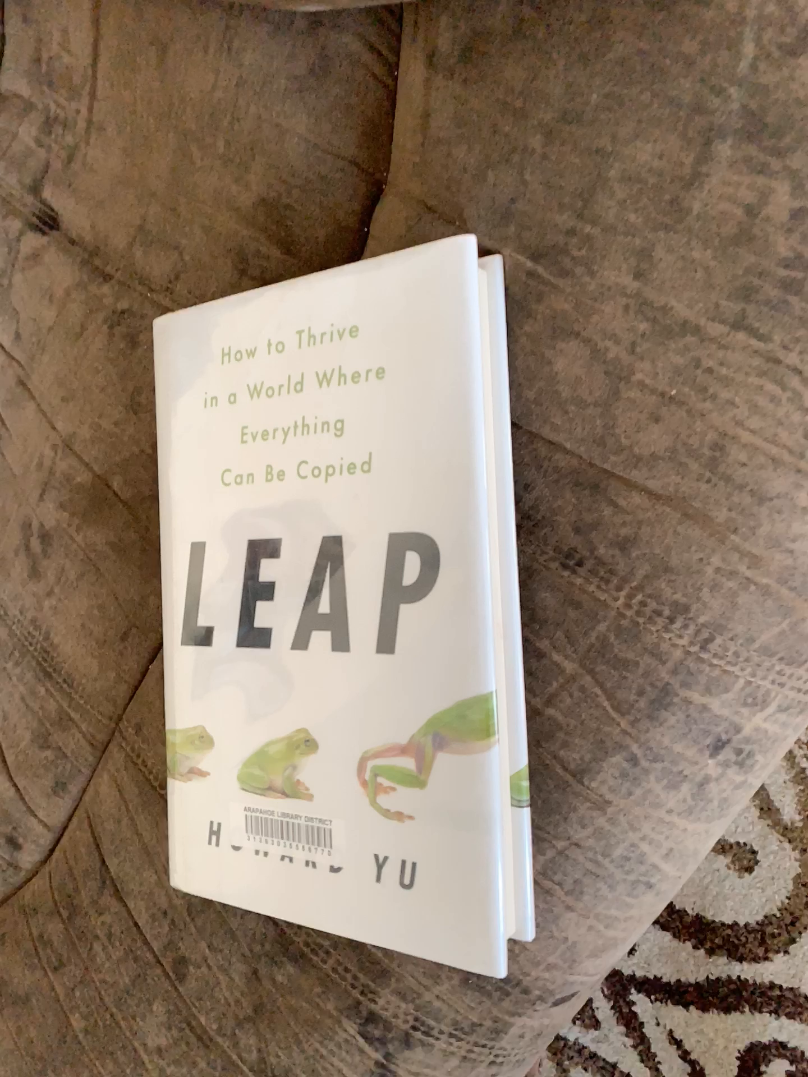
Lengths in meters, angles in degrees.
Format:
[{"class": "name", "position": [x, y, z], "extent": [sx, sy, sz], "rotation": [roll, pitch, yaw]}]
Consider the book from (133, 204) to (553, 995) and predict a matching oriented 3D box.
[{"class": "book", "position": [-0.032, 0.021, 0.310], "extent": [0.161, 0.040, 0.235], "rotation": [-4, 87, 35]}]
